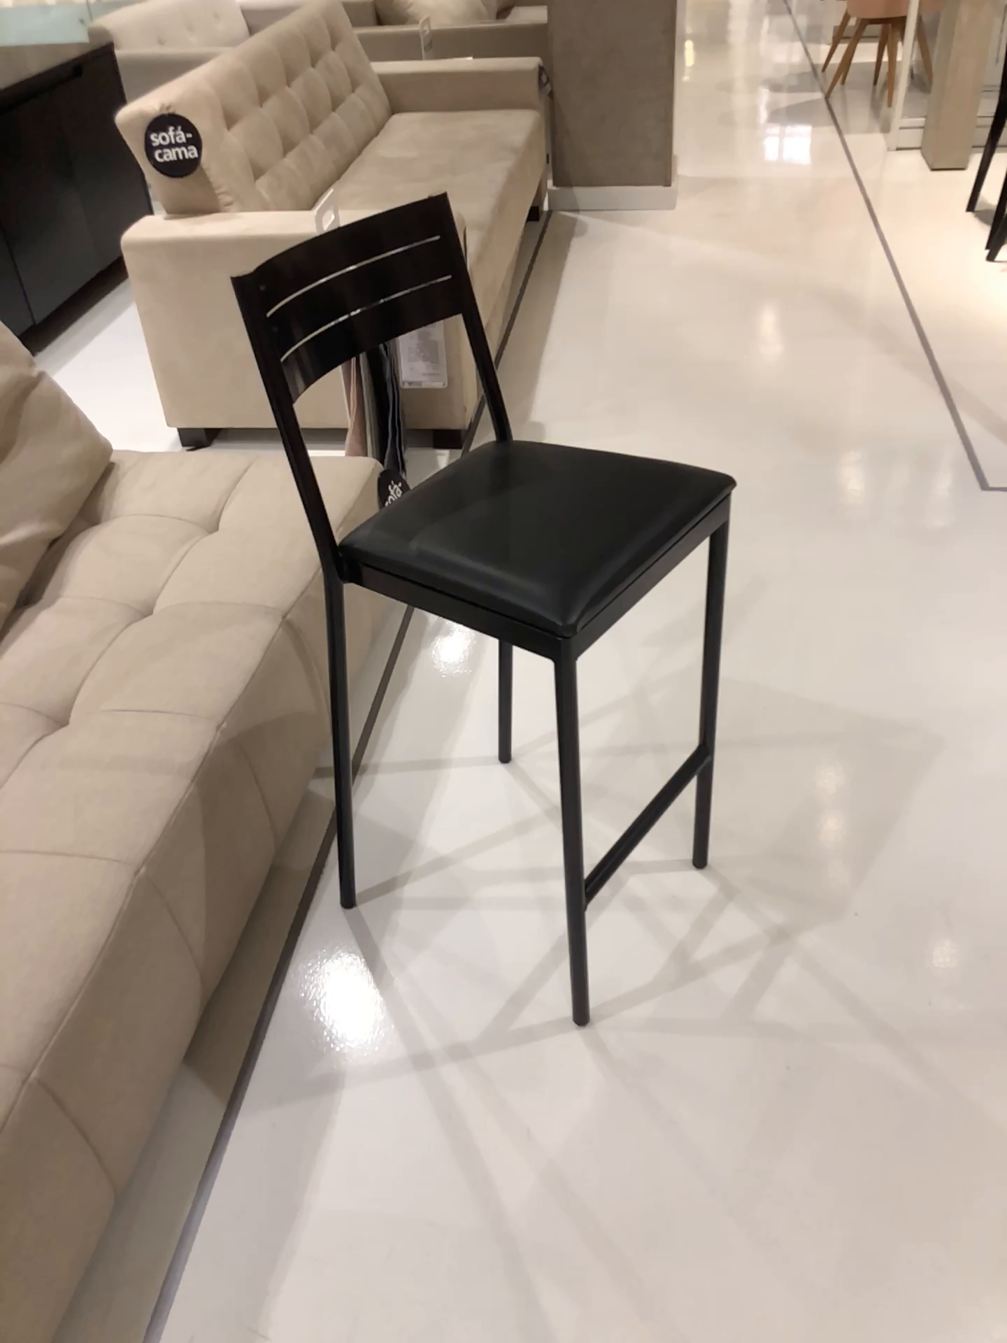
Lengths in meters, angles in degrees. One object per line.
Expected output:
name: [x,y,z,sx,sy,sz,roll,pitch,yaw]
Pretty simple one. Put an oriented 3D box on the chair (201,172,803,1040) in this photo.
chair: [0.030,-0.070,1.429,0.471,0.943,0.422,21,44,29]
